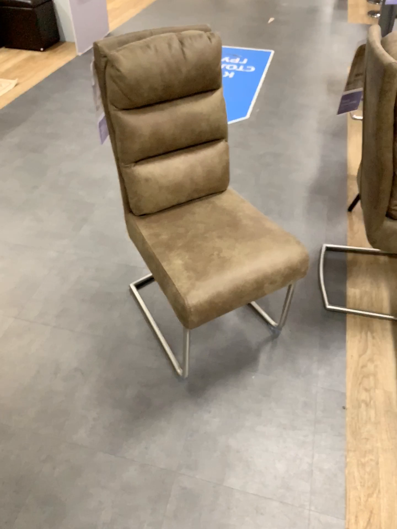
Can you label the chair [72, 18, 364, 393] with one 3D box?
[{"bbox_3d":[0.013,-0.169,1.388,0.501,0.994,0.602,-22,48,-21],"label":"chair"}]
